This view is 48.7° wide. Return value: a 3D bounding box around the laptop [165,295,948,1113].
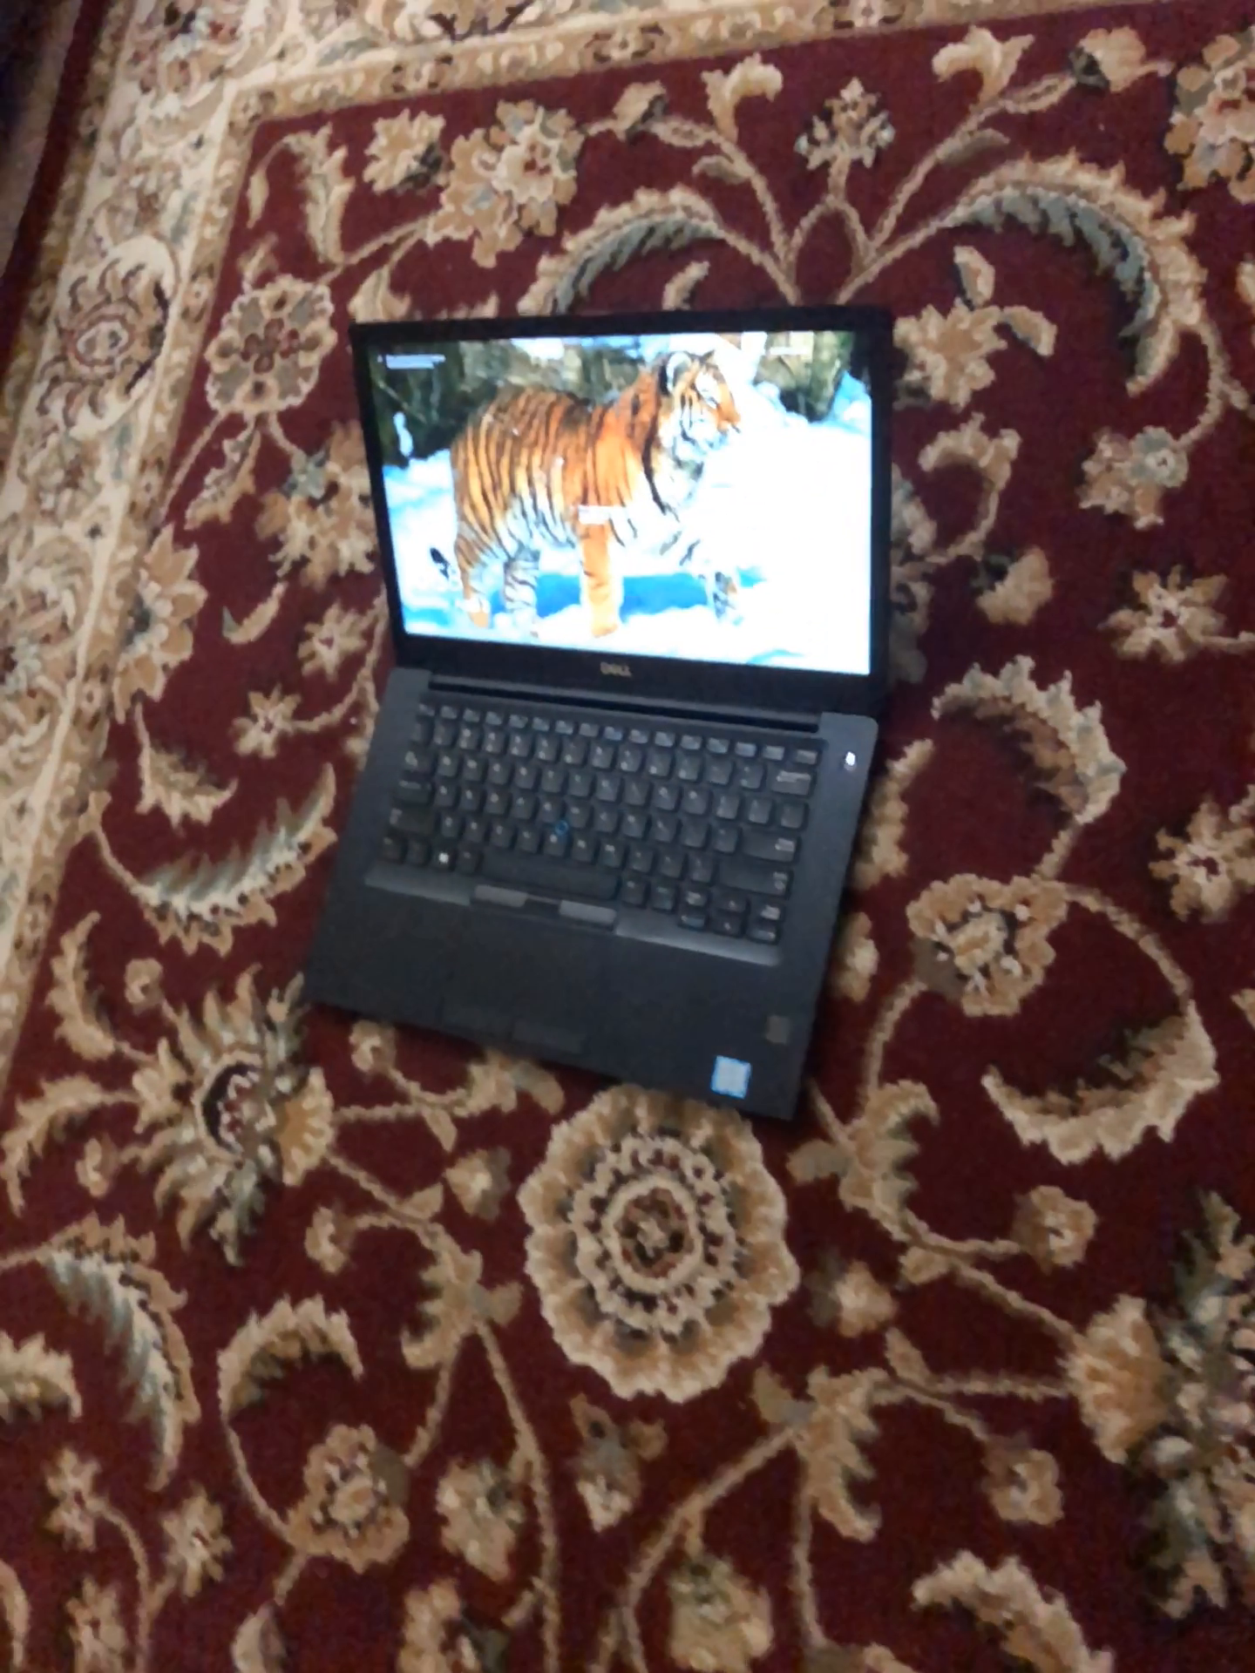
[{"bbox_3d":[-0.038,-0.079,0.761,0.329,0.124,0.383,9,80,28],"label":"laptop"}]
